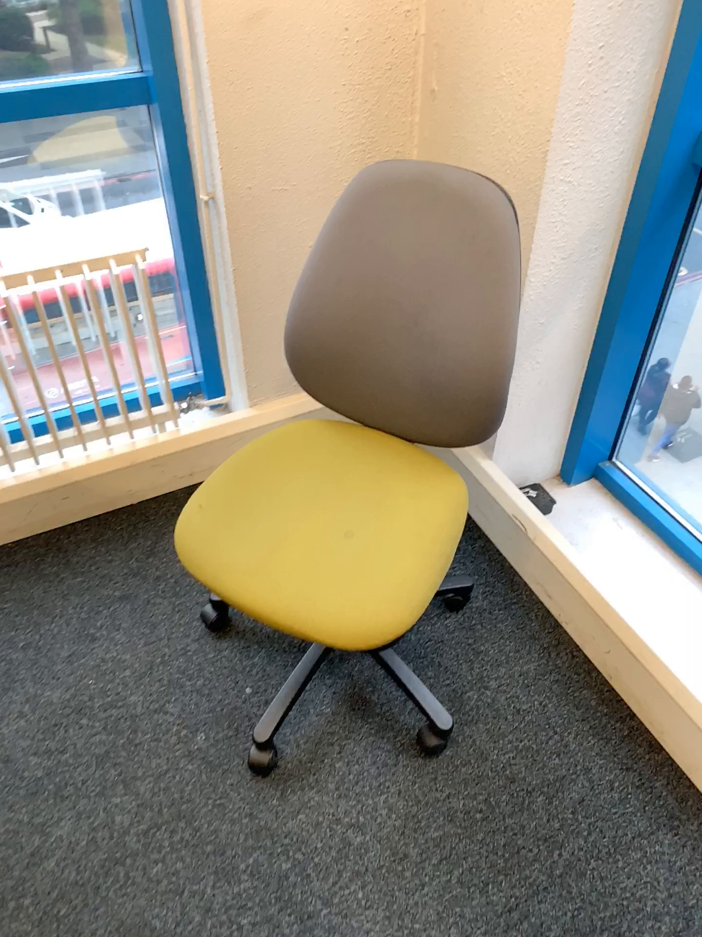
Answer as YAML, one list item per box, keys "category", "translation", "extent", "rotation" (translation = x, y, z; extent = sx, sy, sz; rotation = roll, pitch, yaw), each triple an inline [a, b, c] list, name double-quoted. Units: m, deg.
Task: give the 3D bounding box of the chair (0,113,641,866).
- category: "chair"
  translation: [-0.049, 0.008, 1.211]
  extent: [0.694, 0.877, 0.682]
  rotation: [19, 45, 20]
